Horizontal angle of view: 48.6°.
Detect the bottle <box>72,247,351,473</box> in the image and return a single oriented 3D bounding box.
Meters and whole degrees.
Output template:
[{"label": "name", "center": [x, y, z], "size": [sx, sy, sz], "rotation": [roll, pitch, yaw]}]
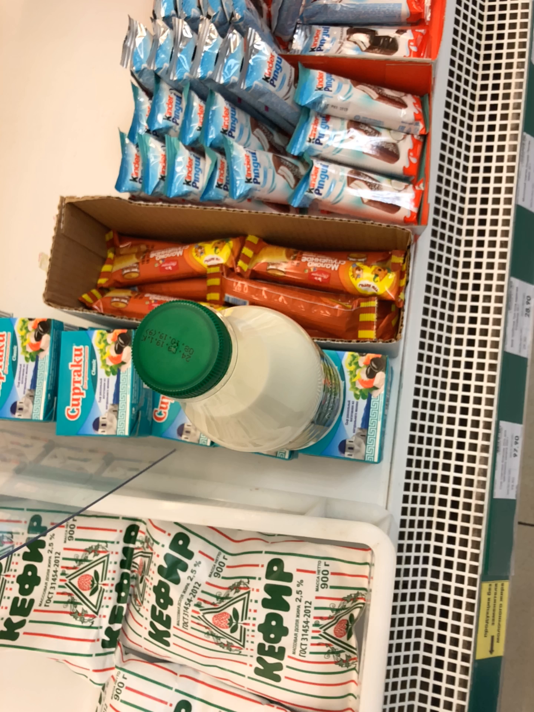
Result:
[{"label": "bottle", "center": [-0.008, 0.016, 0.358], "size": [0.085, 0.239, 0.081], "rotation": [-2, 82, 12]}]
